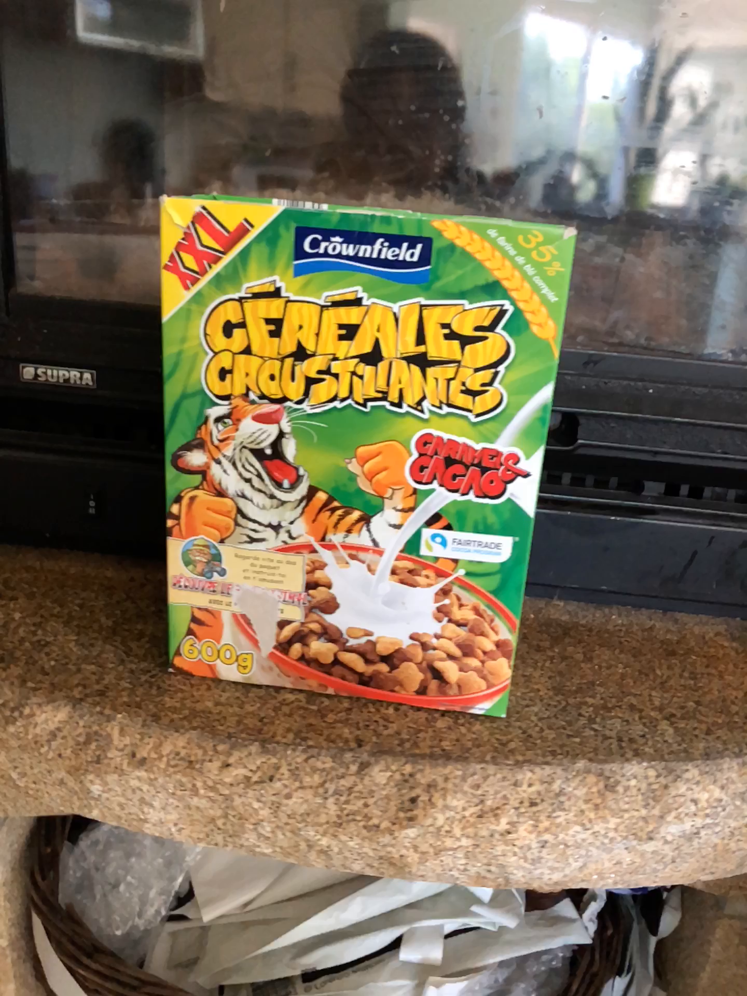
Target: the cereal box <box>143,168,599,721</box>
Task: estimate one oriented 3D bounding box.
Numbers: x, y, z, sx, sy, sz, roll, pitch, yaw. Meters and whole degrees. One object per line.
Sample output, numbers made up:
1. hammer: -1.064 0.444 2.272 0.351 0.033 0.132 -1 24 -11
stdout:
1. cereal box: -0.008 -0.029 0.445 0.200 0.259 0.090 6 20 4
